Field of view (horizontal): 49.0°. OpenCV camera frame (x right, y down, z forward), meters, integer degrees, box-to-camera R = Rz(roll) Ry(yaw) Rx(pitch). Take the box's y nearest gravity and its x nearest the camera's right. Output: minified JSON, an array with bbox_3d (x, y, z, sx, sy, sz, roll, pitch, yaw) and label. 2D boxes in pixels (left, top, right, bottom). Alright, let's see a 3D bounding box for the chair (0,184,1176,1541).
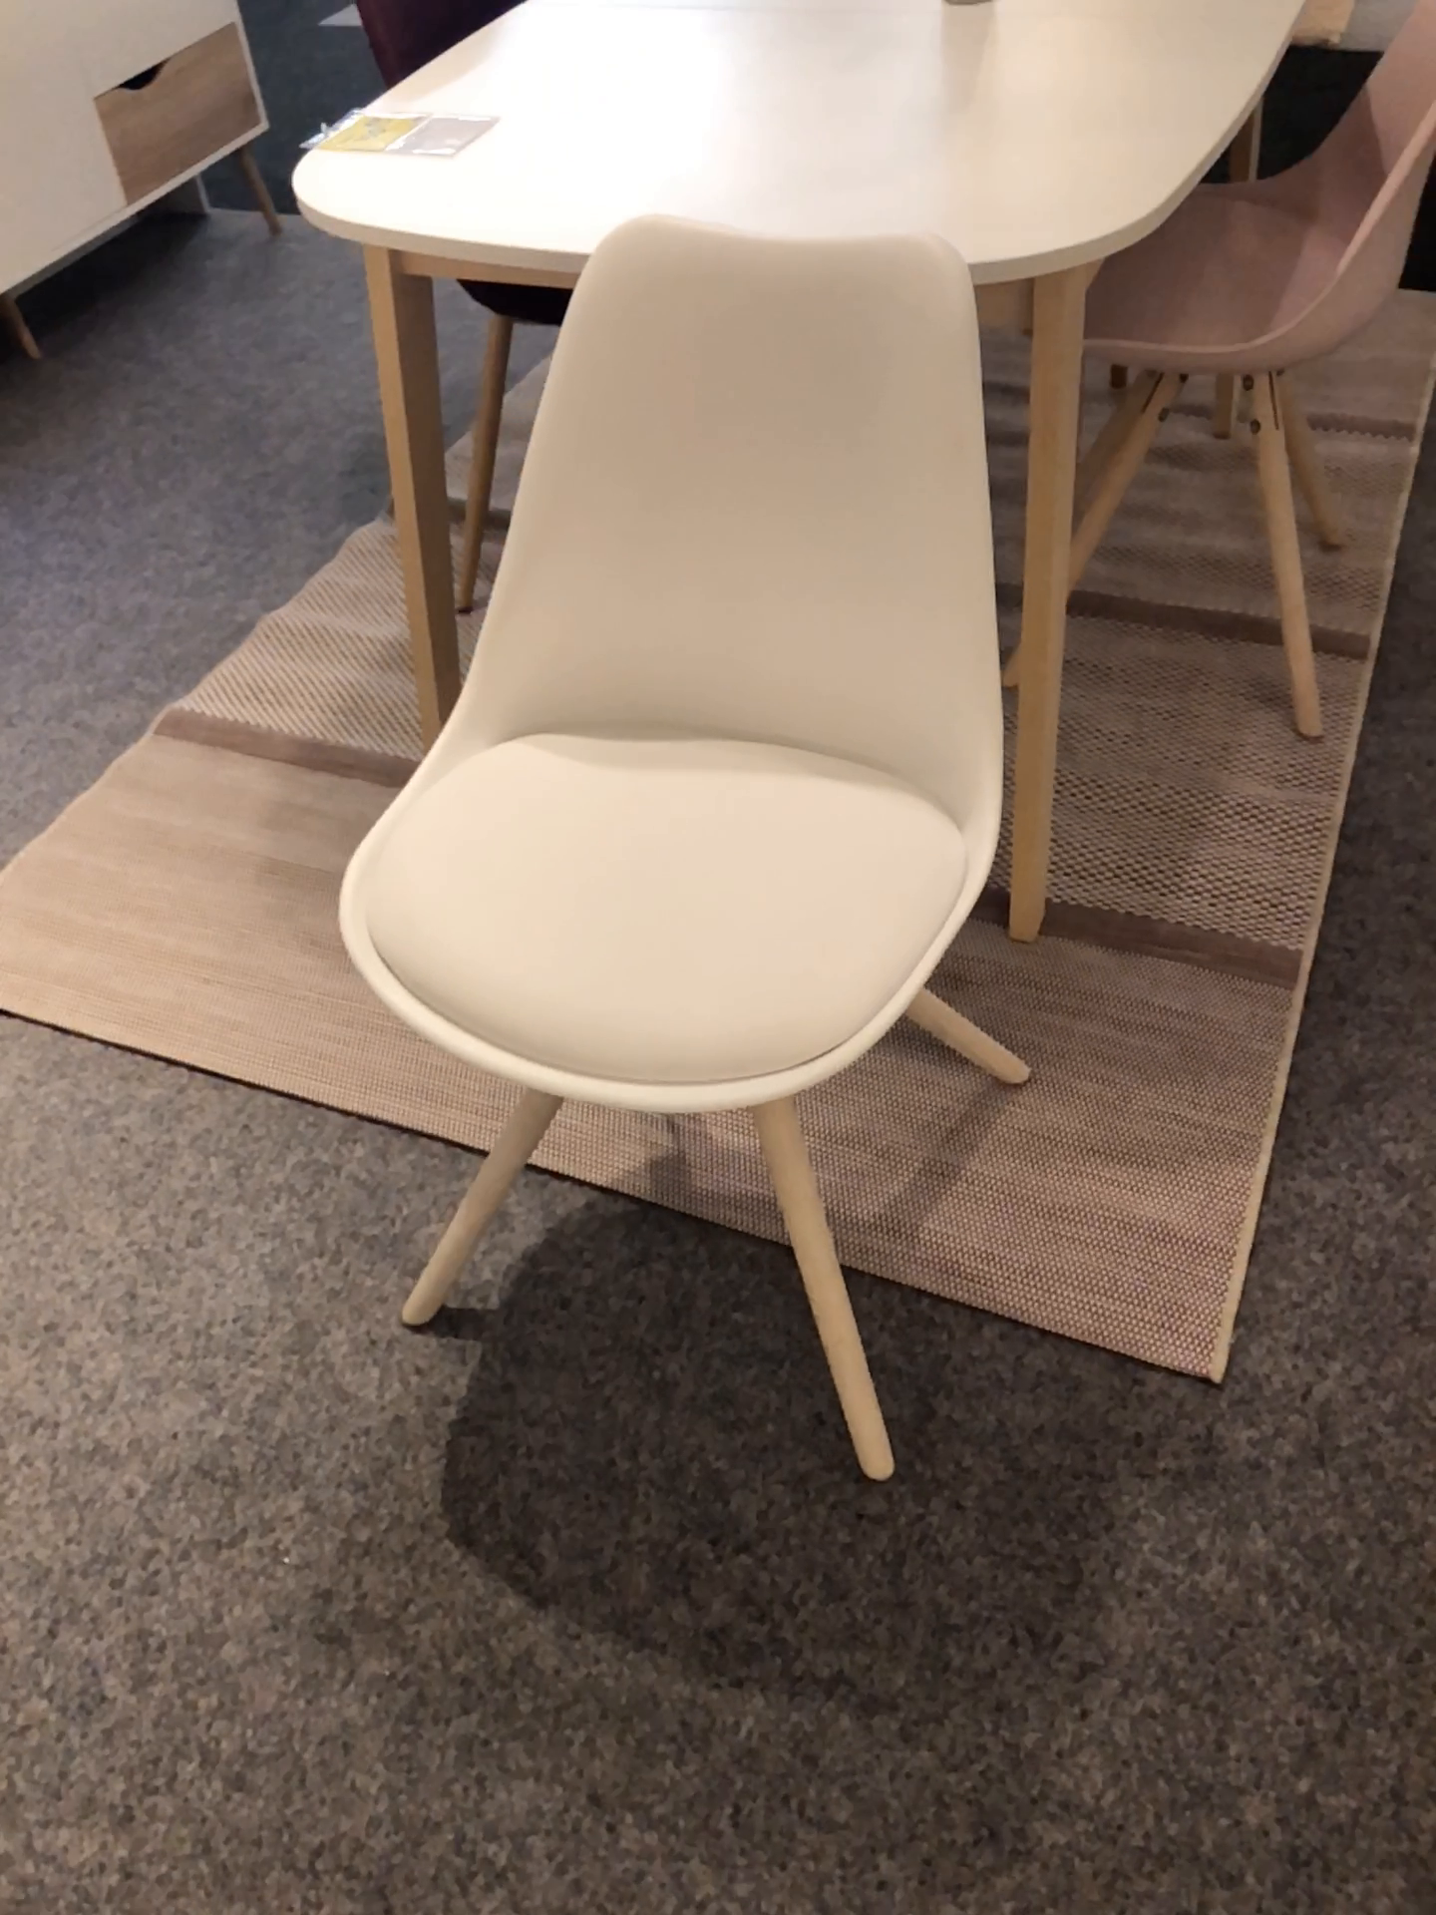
[{"bbox_3d":[-0.027,-0.082,1.221,0.550,0.756,0.594,13,47,19],"label":"chair"}]
